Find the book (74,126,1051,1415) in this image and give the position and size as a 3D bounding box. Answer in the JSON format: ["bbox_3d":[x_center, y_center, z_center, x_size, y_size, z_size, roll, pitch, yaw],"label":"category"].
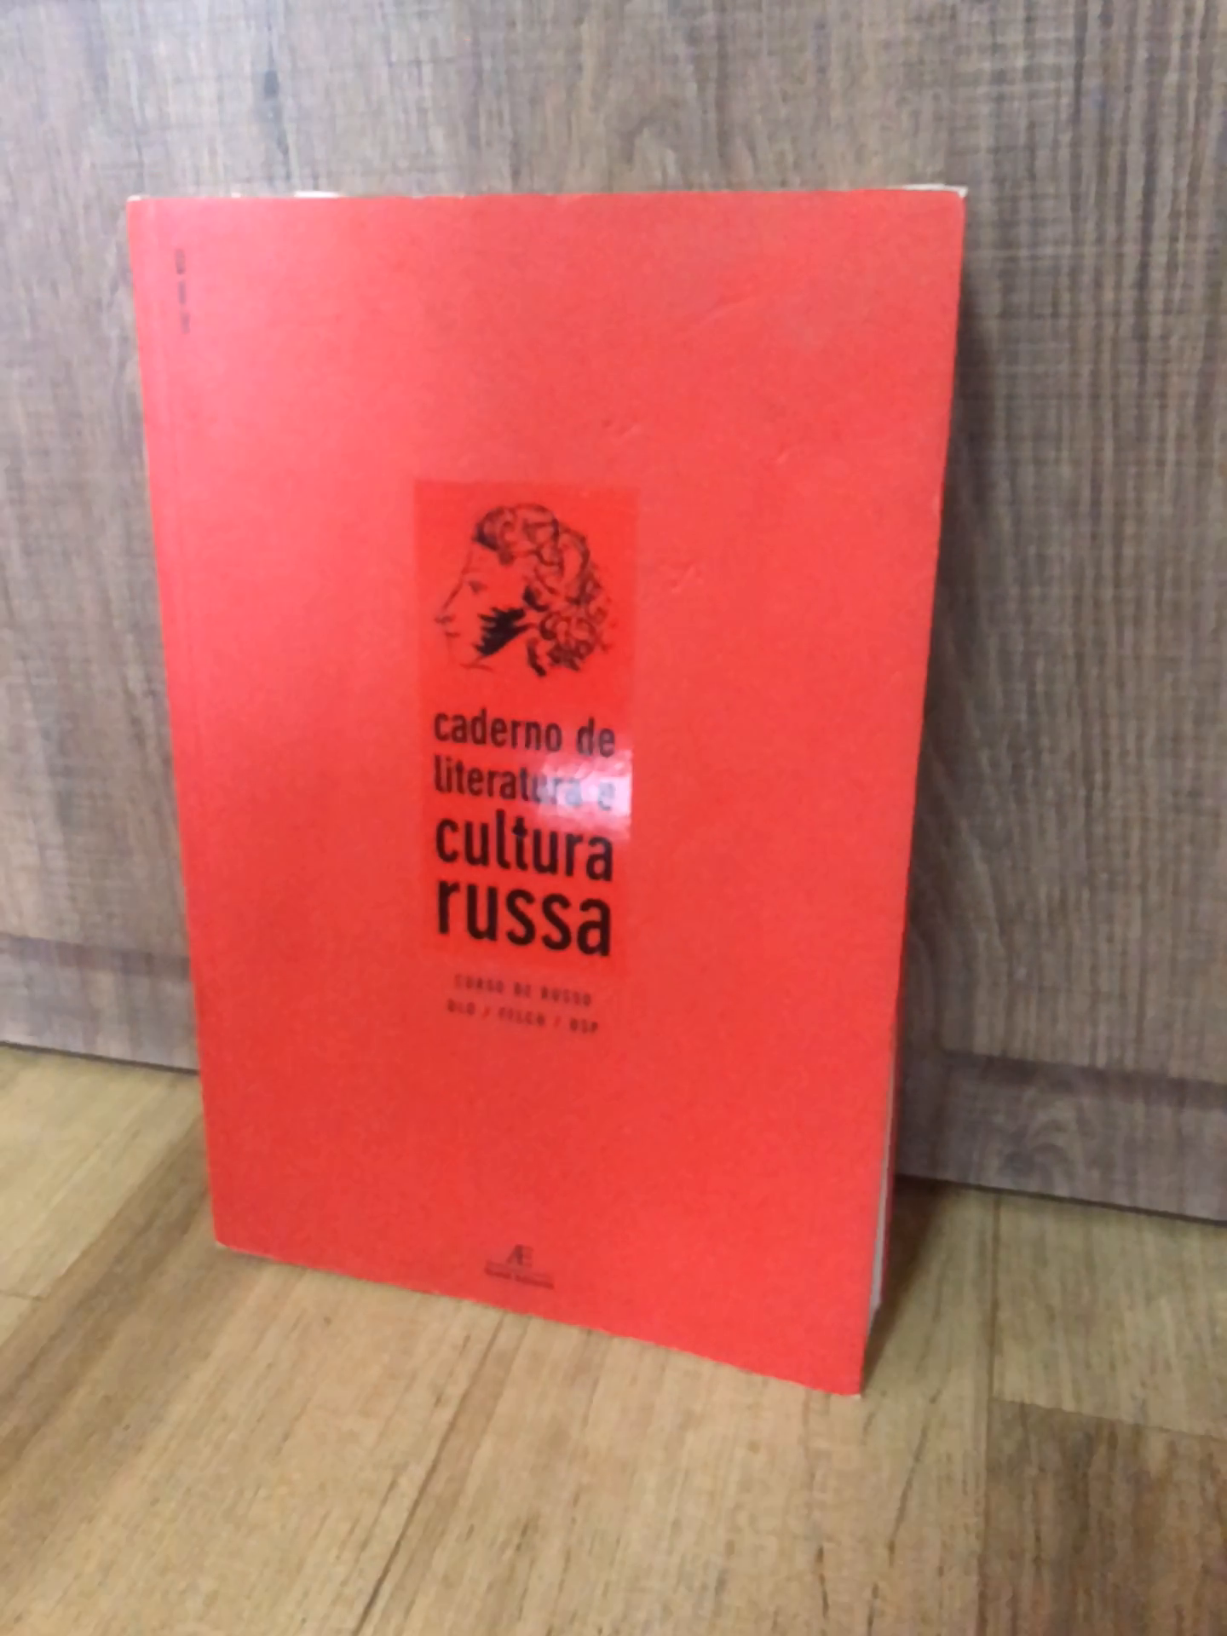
[{"bbox_3d":[-0.014,-0.007,0.302,0.187,0.249,0.040,6,18,18],"label":"book"}]
